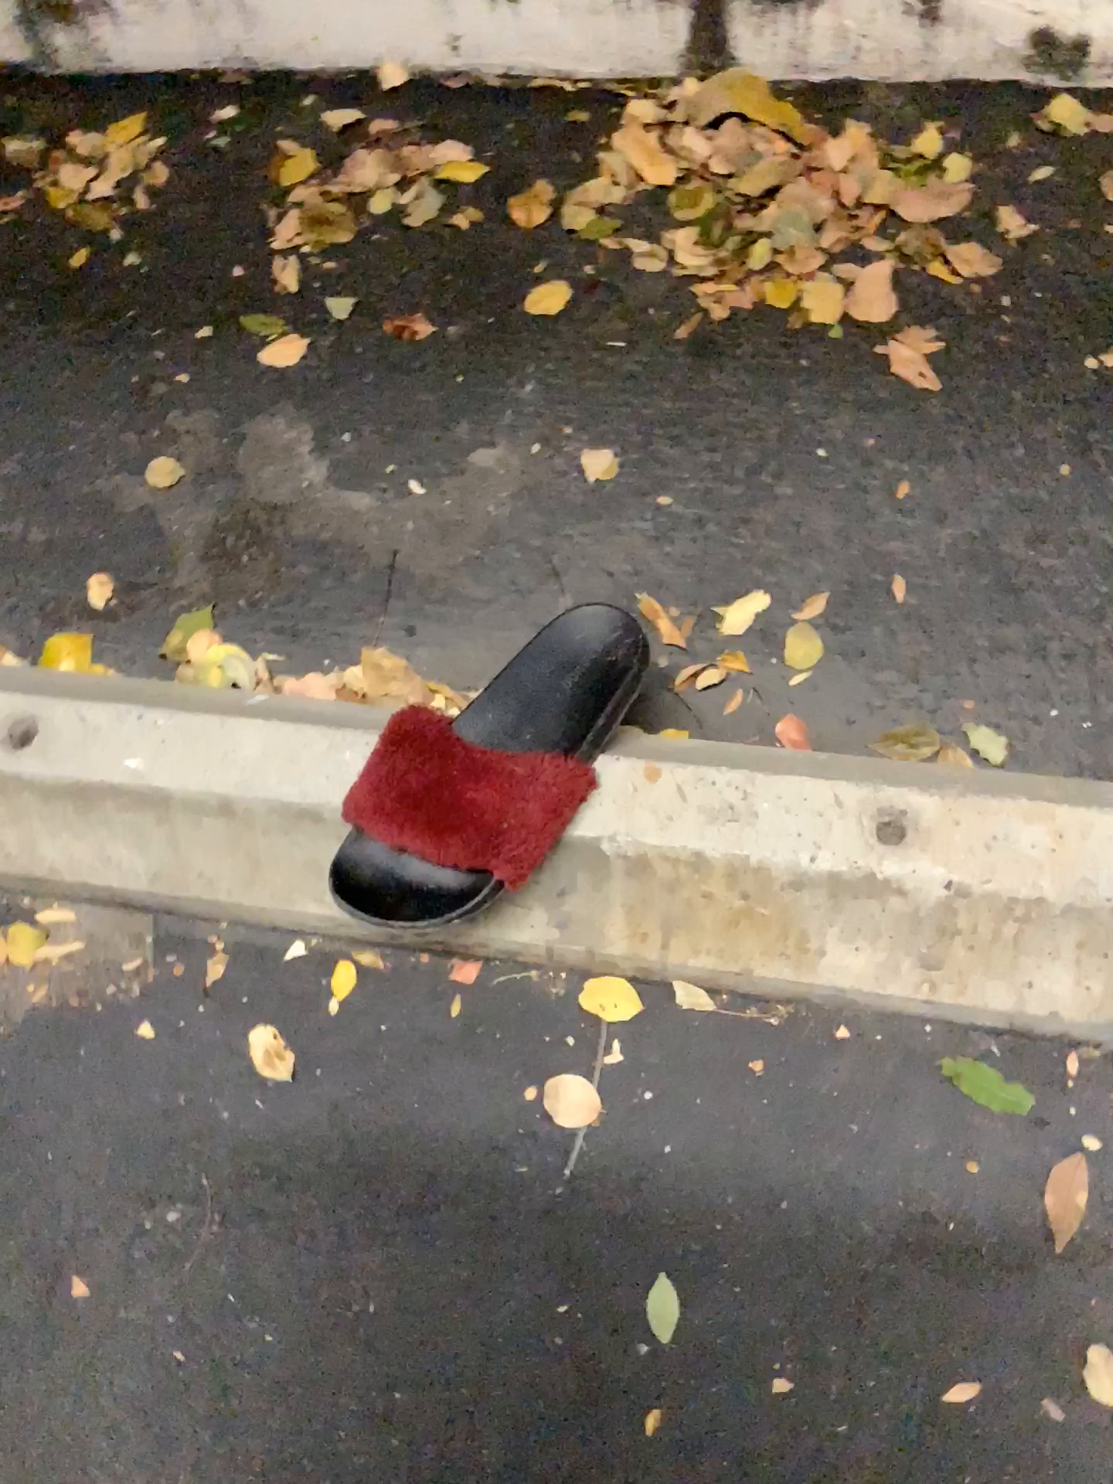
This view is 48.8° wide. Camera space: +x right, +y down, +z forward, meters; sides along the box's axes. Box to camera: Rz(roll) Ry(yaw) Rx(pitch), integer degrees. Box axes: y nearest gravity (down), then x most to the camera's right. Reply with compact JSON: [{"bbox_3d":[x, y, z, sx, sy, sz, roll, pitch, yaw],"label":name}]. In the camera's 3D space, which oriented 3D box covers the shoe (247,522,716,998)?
[{"bbox_3d":[-0.040,0.002,0.767,0.140,0.050,0.280,33,70,22],"label":"shoe"}]
